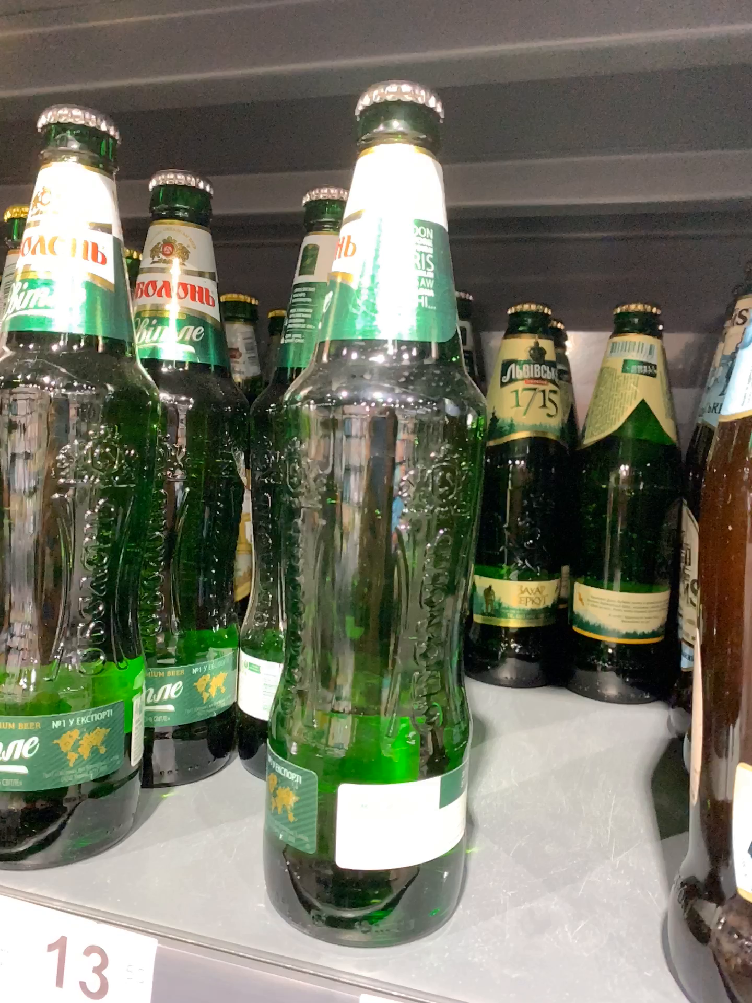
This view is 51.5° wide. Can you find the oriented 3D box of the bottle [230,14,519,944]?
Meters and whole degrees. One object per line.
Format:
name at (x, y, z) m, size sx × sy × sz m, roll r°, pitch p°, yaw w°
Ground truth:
bottle at (-0.004, -0.003, 0.254) m, size 0.070 × 0.257 × 0.073 m, roll 3°, pitch 4°, yaw 0°
